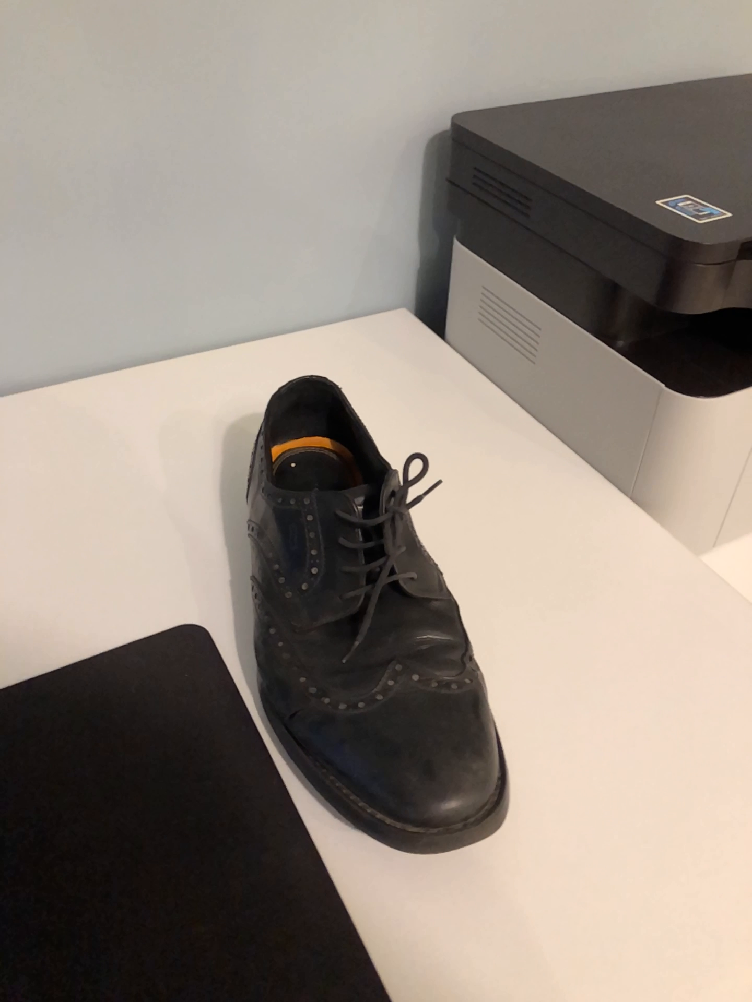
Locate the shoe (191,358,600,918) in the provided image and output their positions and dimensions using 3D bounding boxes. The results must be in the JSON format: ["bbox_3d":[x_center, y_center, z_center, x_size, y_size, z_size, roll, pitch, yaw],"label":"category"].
[{"bbox_3d":[-0.015,0.042,0.461,0.119,0.079,0.314,-10,42,-15],"label":"shoe"}]
